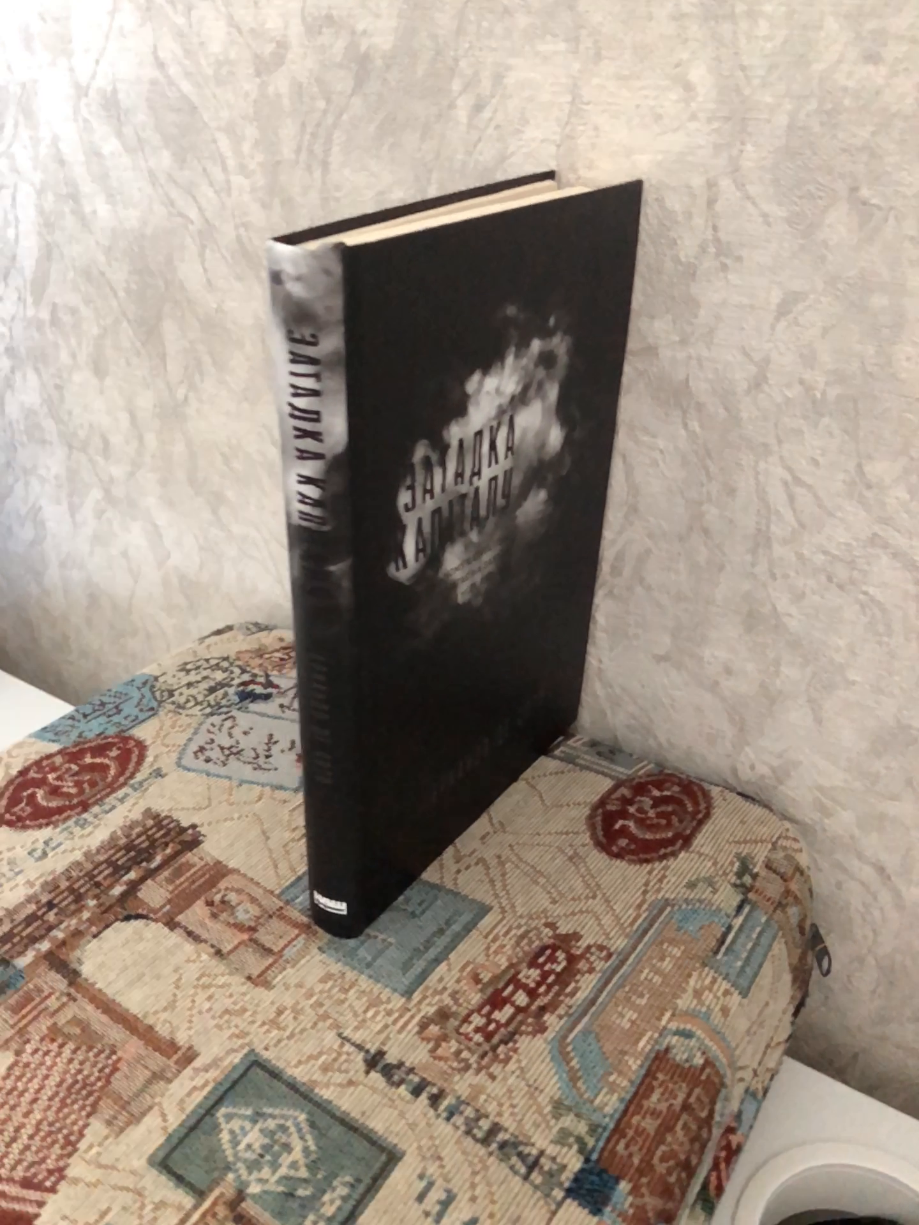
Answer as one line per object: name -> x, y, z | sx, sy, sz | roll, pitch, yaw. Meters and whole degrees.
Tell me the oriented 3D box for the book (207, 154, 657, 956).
book -> 0.003, -0.018, 0.304 | 0.035, 0.200, 0.138 | 21, 38, 30
